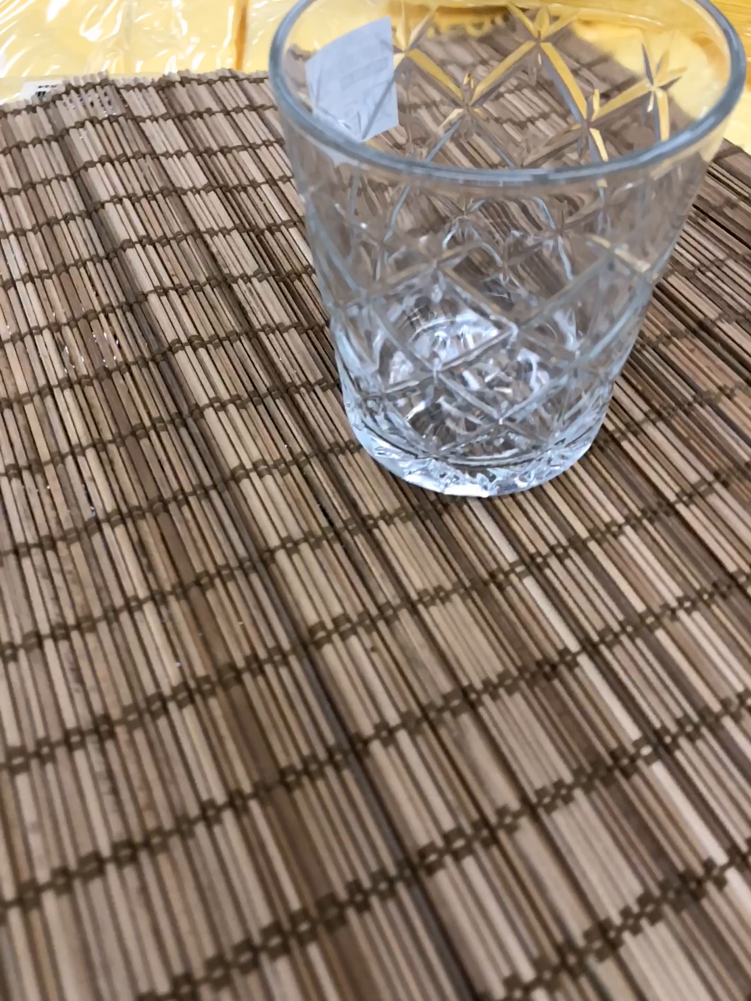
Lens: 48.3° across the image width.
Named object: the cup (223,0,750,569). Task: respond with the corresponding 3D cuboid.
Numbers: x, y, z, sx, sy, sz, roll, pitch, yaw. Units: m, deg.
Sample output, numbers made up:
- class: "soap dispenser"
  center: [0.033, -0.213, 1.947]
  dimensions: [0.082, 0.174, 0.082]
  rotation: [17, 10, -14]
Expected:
- class: "cup"
  center: [0.030, -0.057, 0.170]
  dimensions: [0.080, 0.090, 0.080]
  rotation: [-1, 50, 1]
